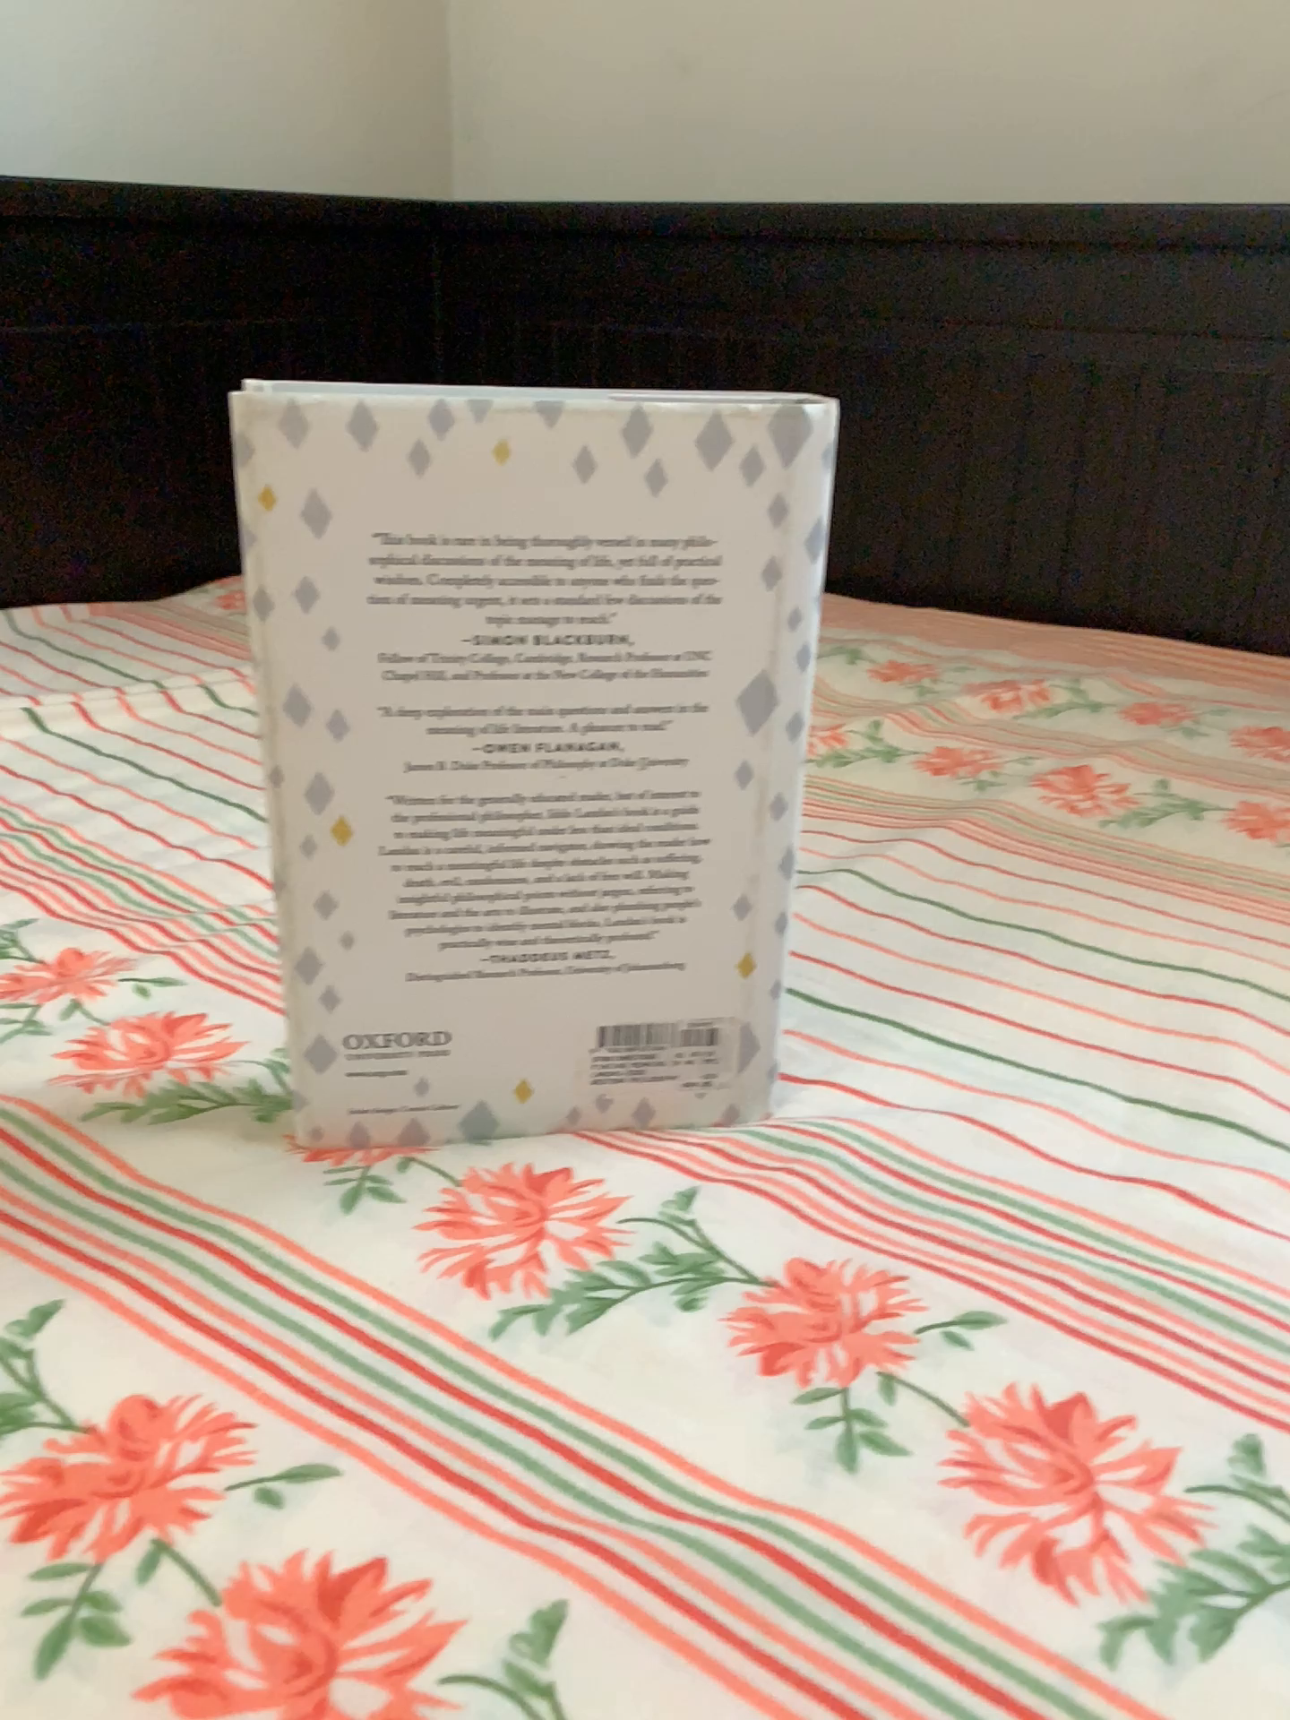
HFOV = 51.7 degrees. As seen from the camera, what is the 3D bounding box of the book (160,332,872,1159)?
[{"bbox_3d":[-0.031,-0.022,0.360,0.160,0.218,0.030,-2,25,-7],"label":"book"}]
